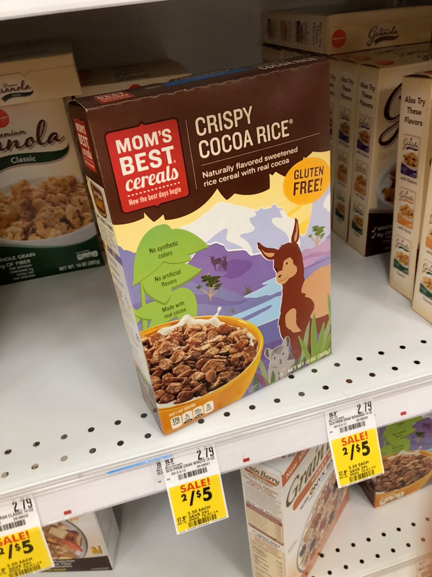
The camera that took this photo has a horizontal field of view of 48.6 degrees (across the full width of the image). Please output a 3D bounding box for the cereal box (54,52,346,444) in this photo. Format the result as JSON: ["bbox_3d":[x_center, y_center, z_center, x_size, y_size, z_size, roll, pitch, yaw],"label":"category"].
[{"bbox_3d":[0.007,-0.035,0.415,0.200,0.279,0.080,-21,31,-22],"label":"cereal box"}]
